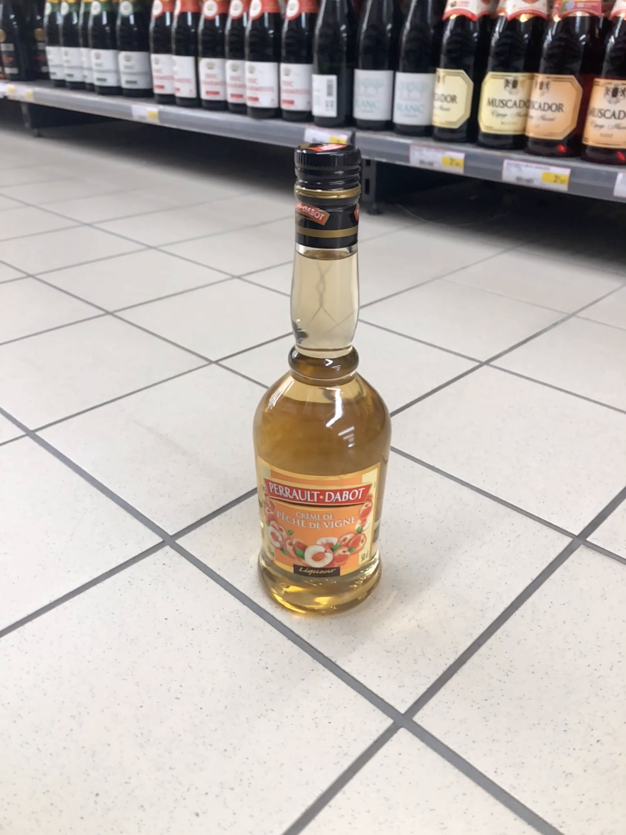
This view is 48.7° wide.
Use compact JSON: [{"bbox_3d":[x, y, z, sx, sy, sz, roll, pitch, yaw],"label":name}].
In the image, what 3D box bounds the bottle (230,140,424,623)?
[{"bbox_3d":[0.008,-0.013,0.378,0.080,0.249,0.080,1,28,0],"label":"bottle"}]
